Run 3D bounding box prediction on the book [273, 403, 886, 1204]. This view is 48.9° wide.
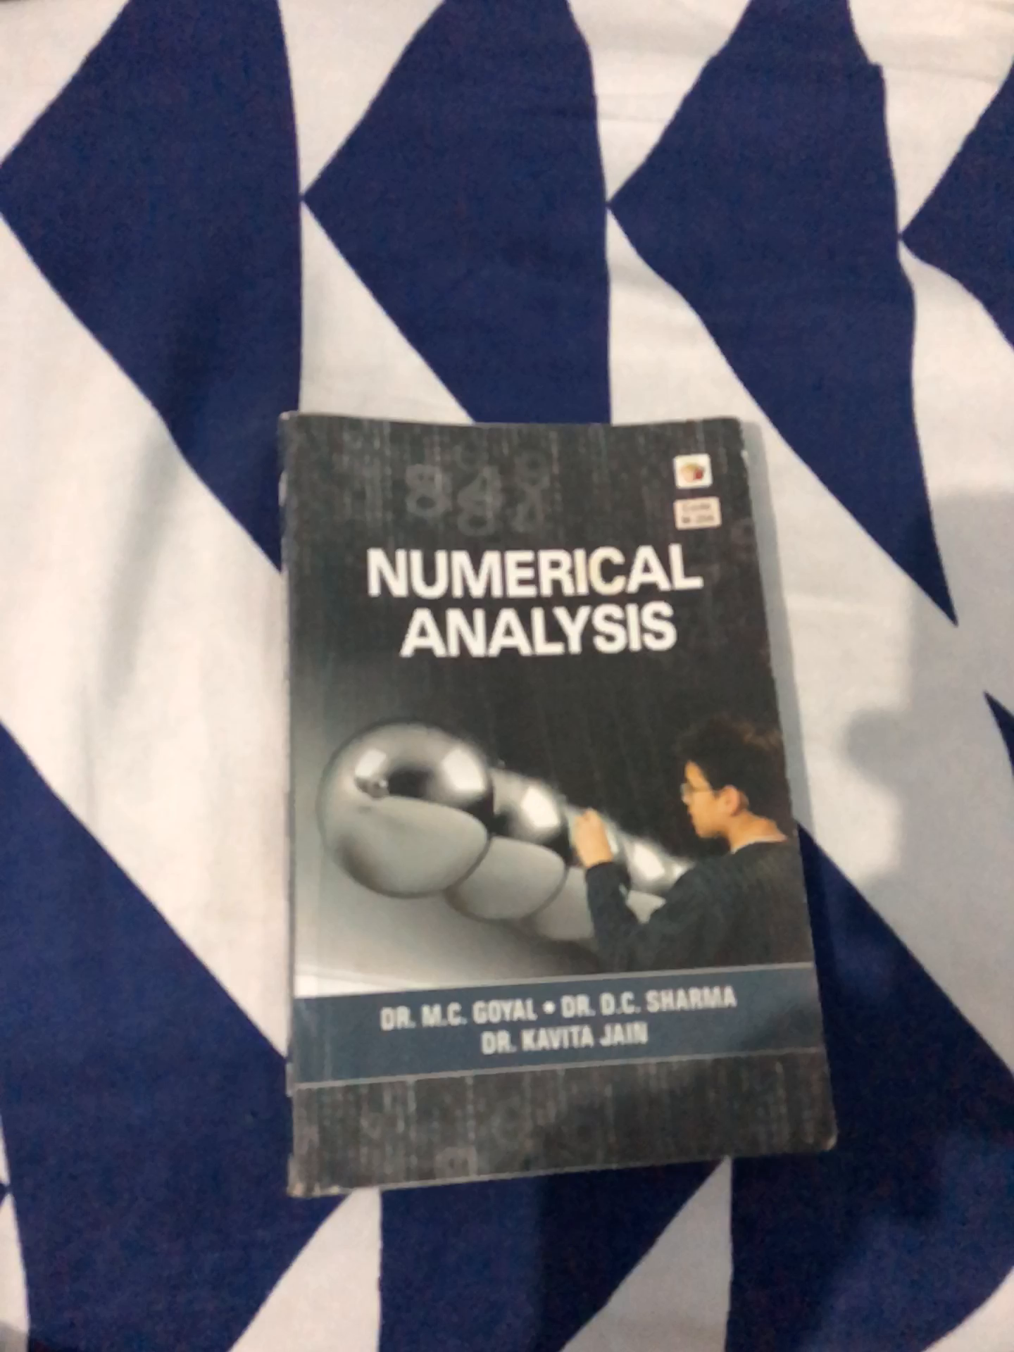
[{"bbox_3d":[0.013,0.024,0.289,0.140,0.030,0.190,-1,77,-8],"label":"book"}]
